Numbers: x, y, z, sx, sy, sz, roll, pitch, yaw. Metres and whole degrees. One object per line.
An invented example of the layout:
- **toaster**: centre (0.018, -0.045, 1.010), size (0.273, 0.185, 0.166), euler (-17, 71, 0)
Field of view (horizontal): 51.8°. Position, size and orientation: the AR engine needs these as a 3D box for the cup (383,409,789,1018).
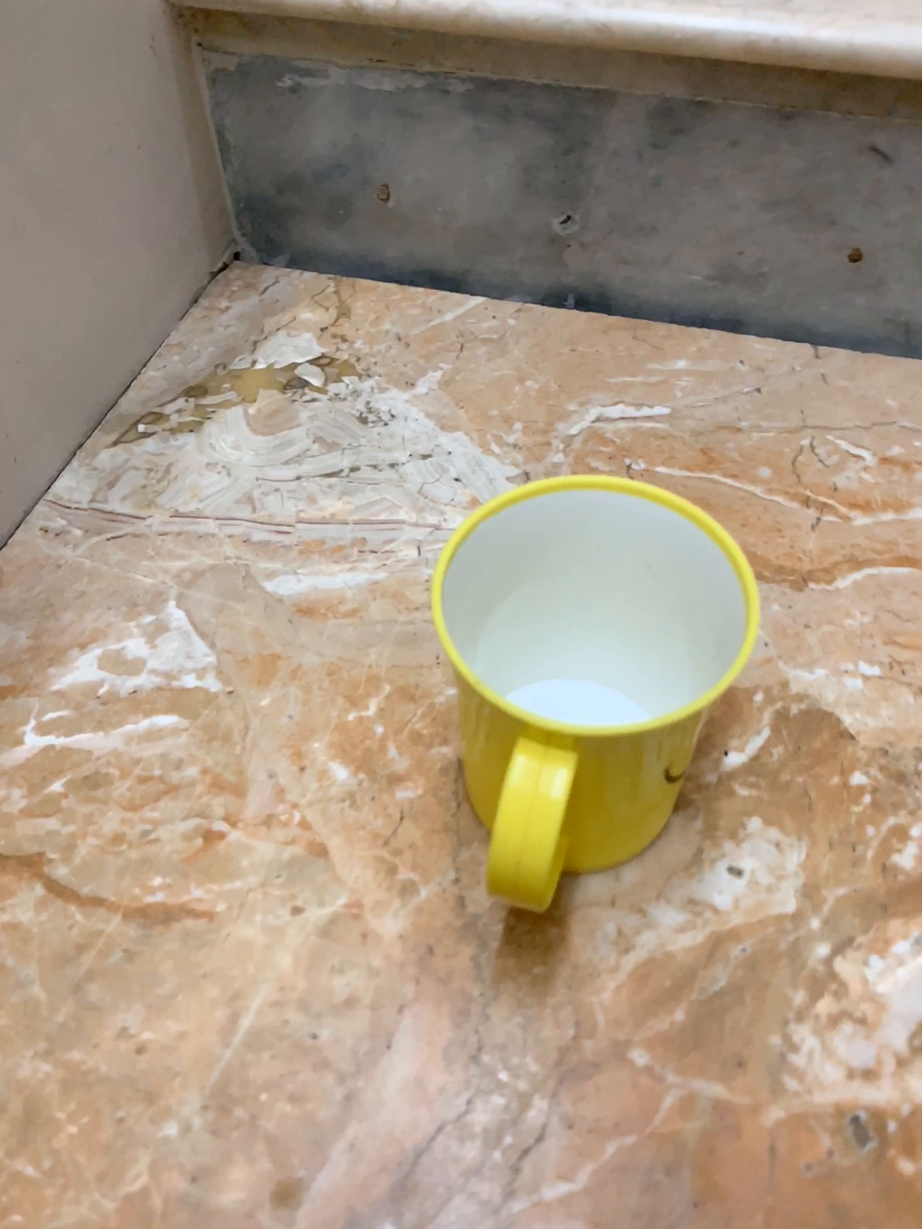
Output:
- **cup**: centre (0.034, 0.024, 0.239), size (0.070, 0.089, 0.111), euler (10, 52, 10)
